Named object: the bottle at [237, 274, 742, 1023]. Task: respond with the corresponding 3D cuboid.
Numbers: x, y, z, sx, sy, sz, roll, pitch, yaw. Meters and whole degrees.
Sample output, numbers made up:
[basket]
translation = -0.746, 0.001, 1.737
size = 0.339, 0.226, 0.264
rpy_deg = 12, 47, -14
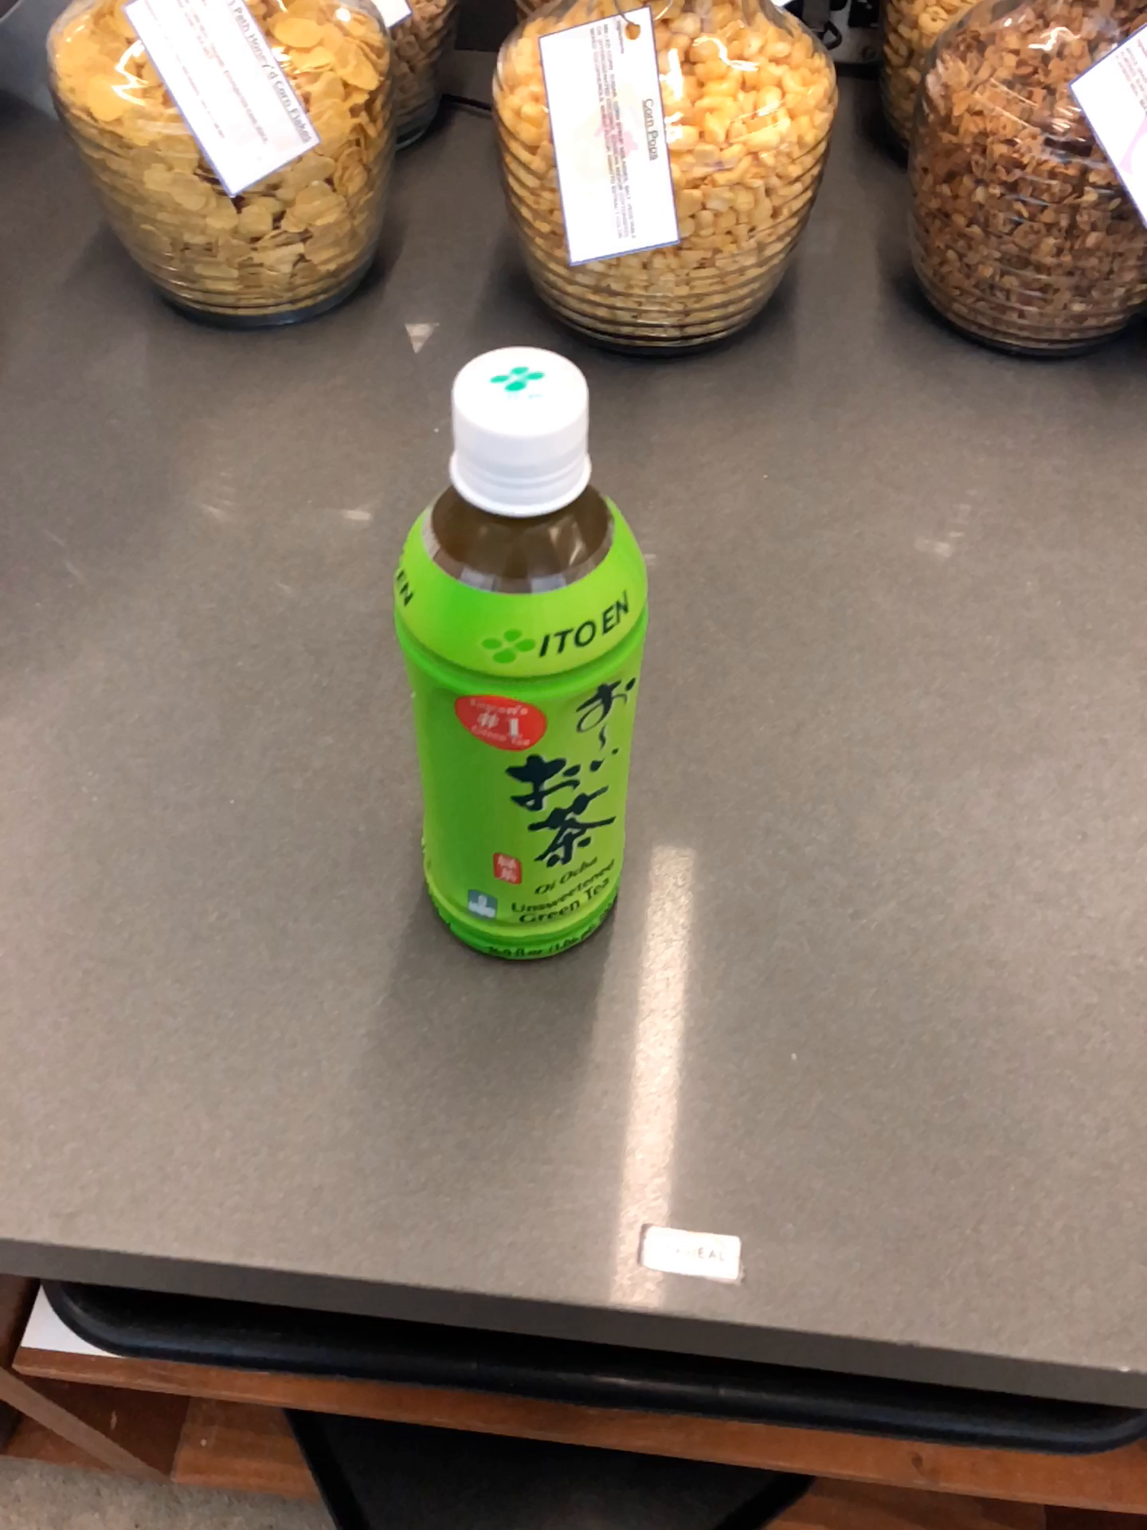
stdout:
[bottle]
translation = -0.020, -0.021, 0.360
size = 0.080, 0.189, 0.080
rpy_deg = 1, 53, -1
